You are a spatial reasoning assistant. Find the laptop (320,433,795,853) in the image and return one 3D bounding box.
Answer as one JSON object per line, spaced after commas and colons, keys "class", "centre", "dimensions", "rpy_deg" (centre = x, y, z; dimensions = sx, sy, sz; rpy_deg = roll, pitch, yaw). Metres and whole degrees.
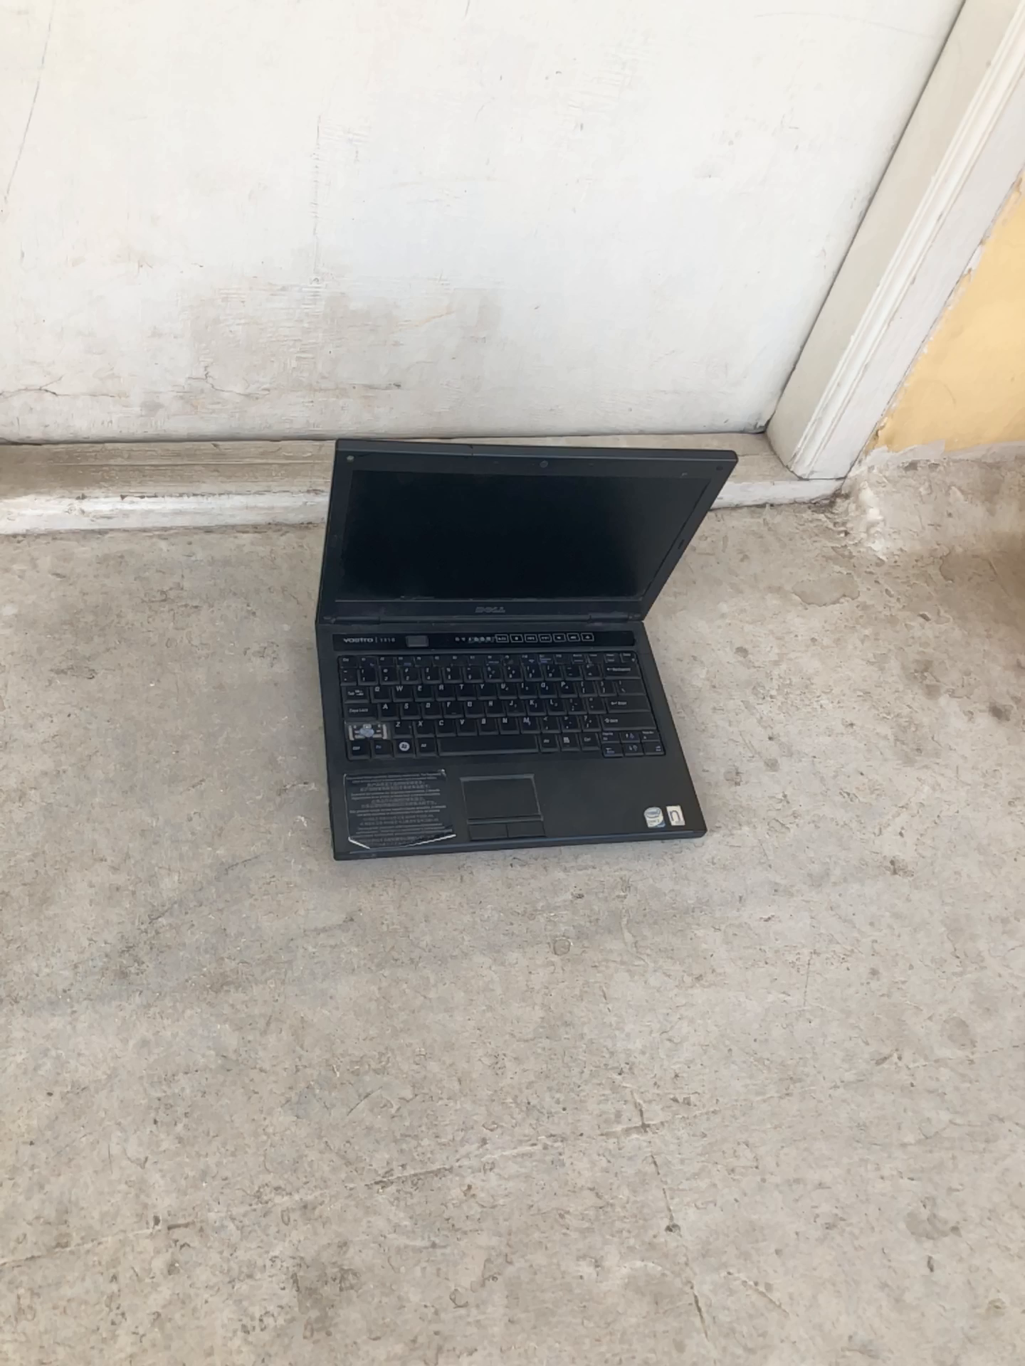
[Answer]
{"class": "laptop", "centre": [0.012, -0.029, 0.872], "dimensions": [0.293, 0.219, 0.214], "rpy_deg": [-1, 54, -14]}
